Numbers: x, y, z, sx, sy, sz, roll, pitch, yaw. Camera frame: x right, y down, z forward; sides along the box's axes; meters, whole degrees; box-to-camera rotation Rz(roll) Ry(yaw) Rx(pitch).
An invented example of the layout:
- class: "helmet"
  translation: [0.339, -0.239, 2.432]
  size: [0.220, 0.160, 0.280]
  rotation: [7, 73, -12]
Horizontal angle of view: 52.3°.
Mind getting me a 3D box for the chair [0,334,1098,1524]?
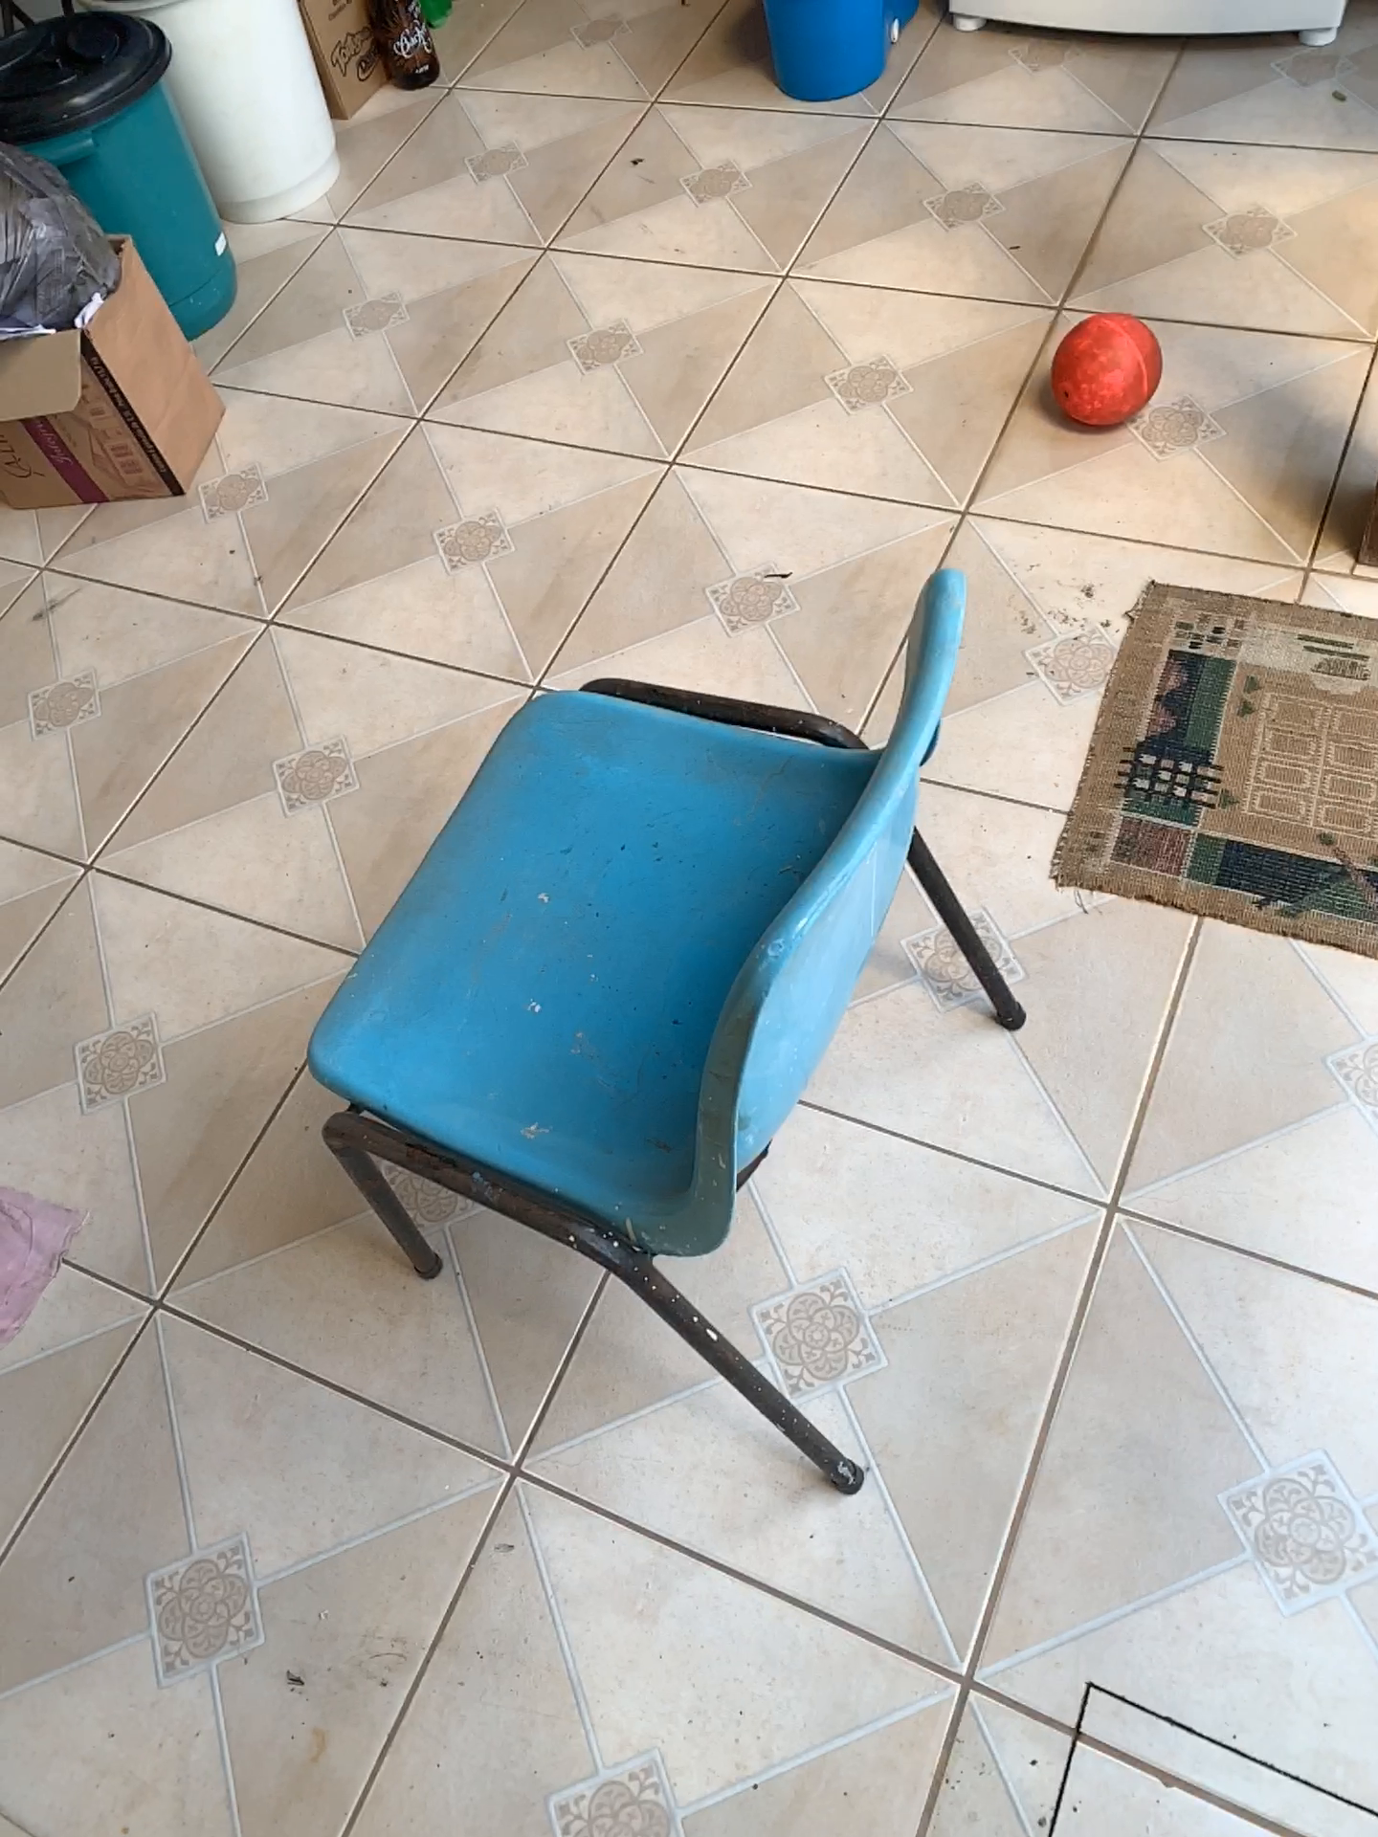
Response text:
- class: "chair"
  translation: [-0.035, 0.033, 1.117]
  size: [0.531, 0.688, 0.551]
  rotation: [15, 61, 21]
